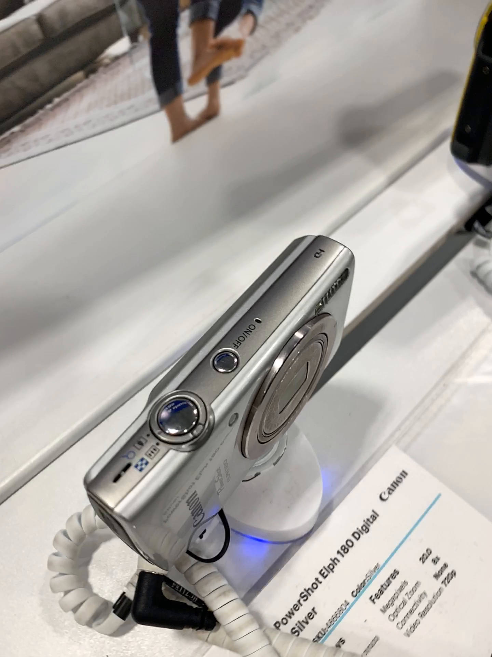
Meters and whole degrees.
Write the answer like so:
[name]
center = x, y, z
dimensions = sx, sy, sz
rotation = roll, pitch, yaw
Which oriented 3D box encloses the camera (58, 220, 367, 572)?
[camera]
center = -0.004, 0.019, 0.155
dimensions = 0.022, 0.051, 0.098
rotation = 33, 63, 18
